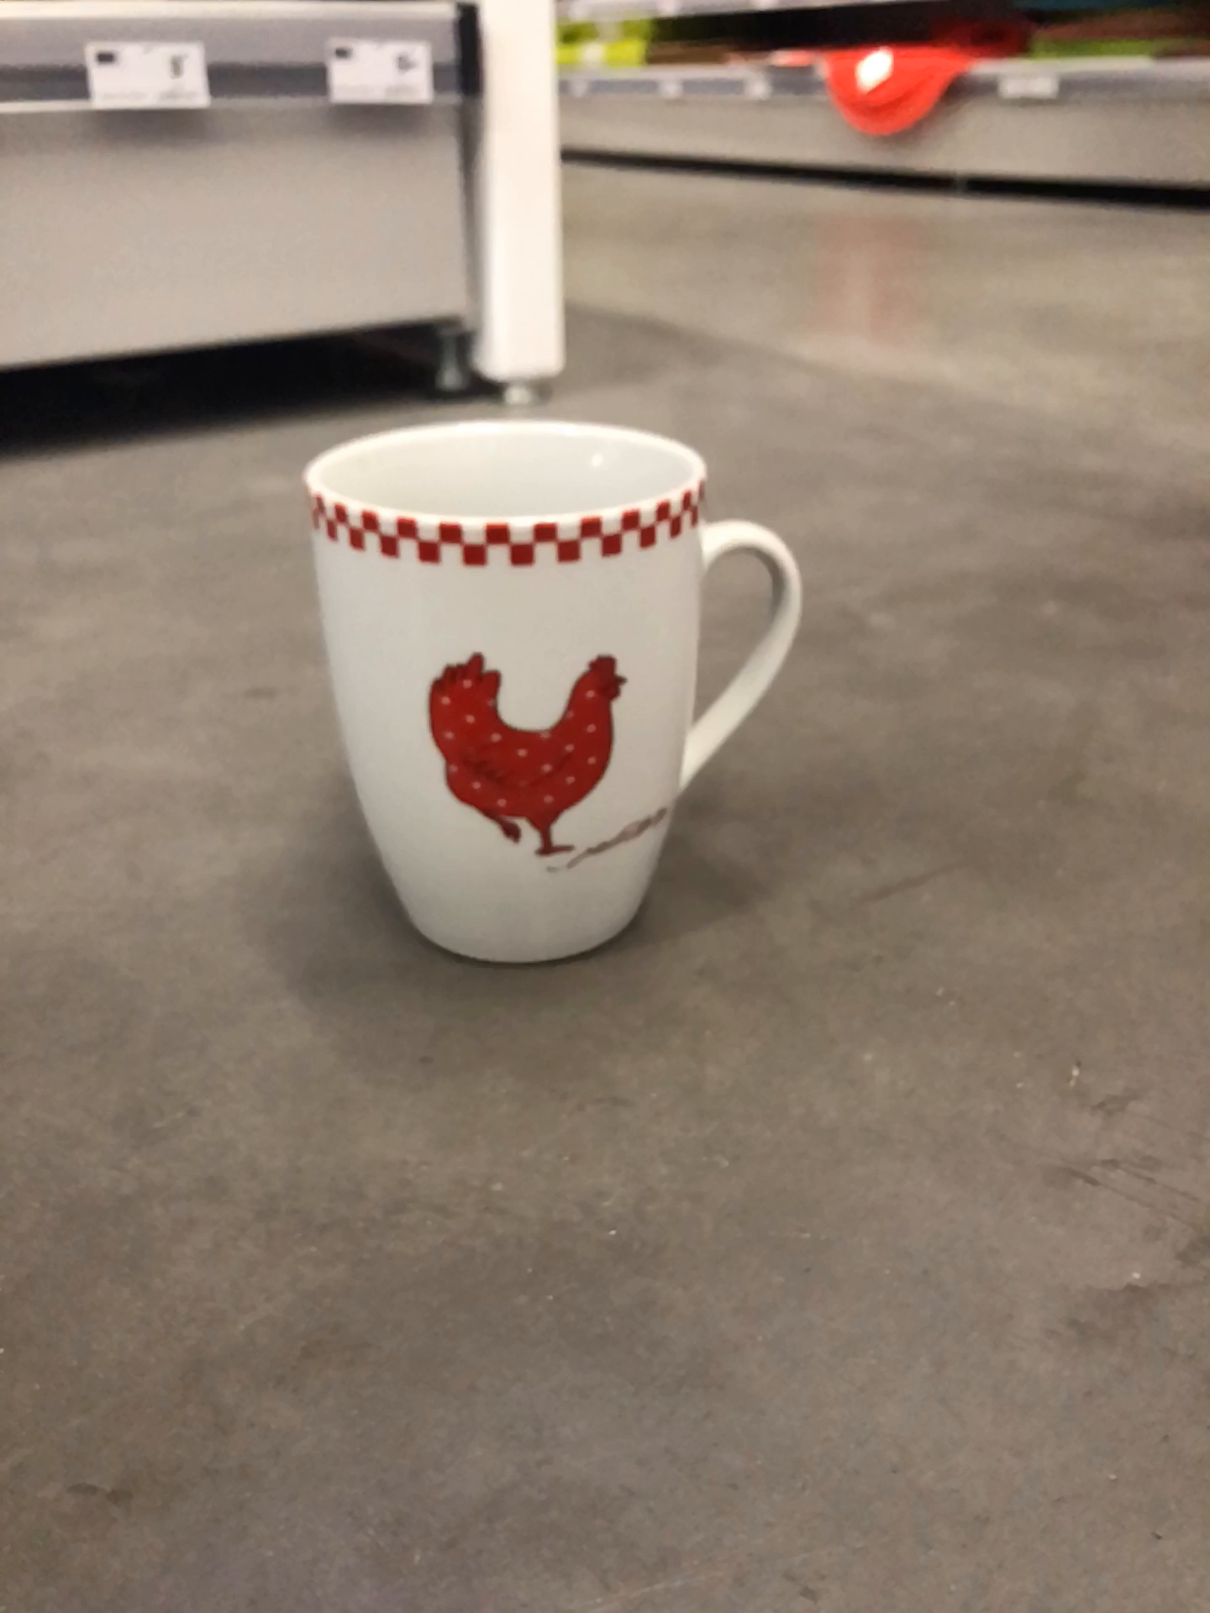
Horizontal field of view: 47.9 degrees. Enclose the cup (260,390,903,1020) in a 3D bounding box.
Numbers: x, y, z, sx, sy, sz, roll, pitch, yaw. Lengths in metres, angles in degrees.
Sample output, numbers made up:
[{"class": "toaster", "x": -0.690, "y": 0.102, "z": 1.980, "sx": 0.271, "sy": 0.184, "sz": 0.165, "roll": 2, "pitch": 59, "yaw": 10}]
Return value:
[{"class": "cup", "x": -0.009, "y": -0.029, "z": 0.286, "sx": 0.103, "sy": 0.092, "sz": 0.088, "roll": -10, "pitch": 29, "yaw": -17}]
